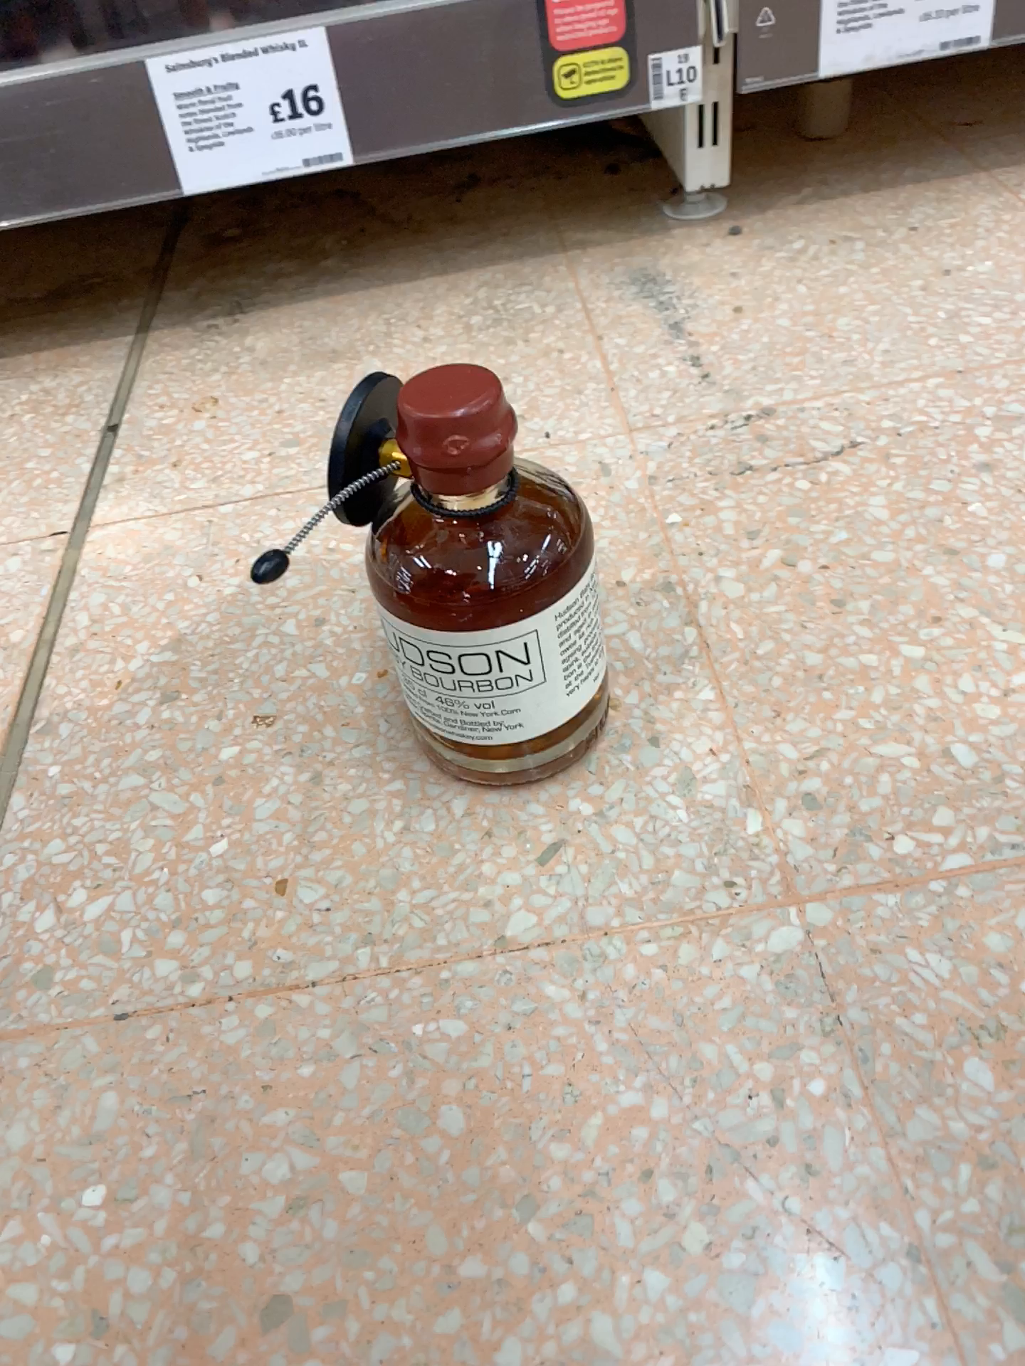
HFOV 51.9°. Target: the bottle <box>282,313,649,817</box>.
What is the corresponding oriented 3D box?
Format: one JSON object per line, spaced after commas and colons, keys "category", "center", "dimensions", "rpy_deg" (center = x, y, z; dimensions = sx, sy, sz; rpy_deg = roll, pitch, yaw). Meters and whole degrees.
{"category": "bottle", "center": [-0.006, -0.036, 0.352], "dimensions": [0.075, 0.142, 0.073], "rpy_deg": [-6, 44, 5]}
